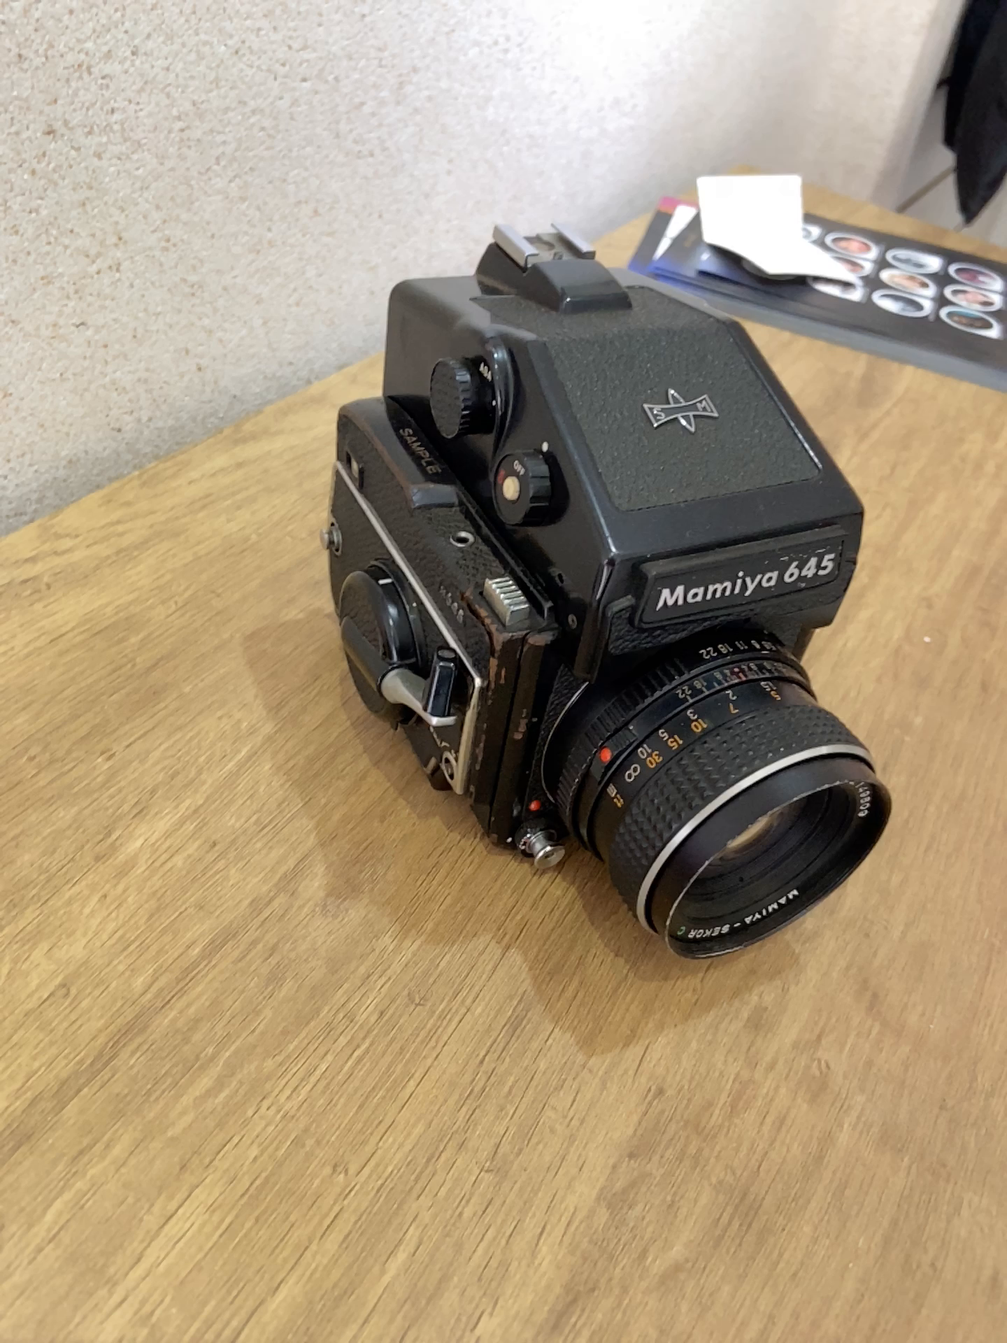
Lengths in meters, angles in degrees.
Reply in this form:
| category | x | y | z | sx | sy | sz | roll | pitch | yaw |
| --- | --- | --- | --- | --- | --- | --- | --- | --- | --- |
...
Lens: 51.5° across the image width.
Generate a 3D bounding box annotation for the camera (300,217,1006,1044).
| category | x | y | z | sx | sy | sz | roll | pitch | yaw |
| --- | --- | --- | --- | --- | --- | --- | --- | --- | --- |
| camera | 0.036 | -0.026 | 0.262 | 0.130 | 0.109 | 0.161 | -13 | 46 | -23 |
